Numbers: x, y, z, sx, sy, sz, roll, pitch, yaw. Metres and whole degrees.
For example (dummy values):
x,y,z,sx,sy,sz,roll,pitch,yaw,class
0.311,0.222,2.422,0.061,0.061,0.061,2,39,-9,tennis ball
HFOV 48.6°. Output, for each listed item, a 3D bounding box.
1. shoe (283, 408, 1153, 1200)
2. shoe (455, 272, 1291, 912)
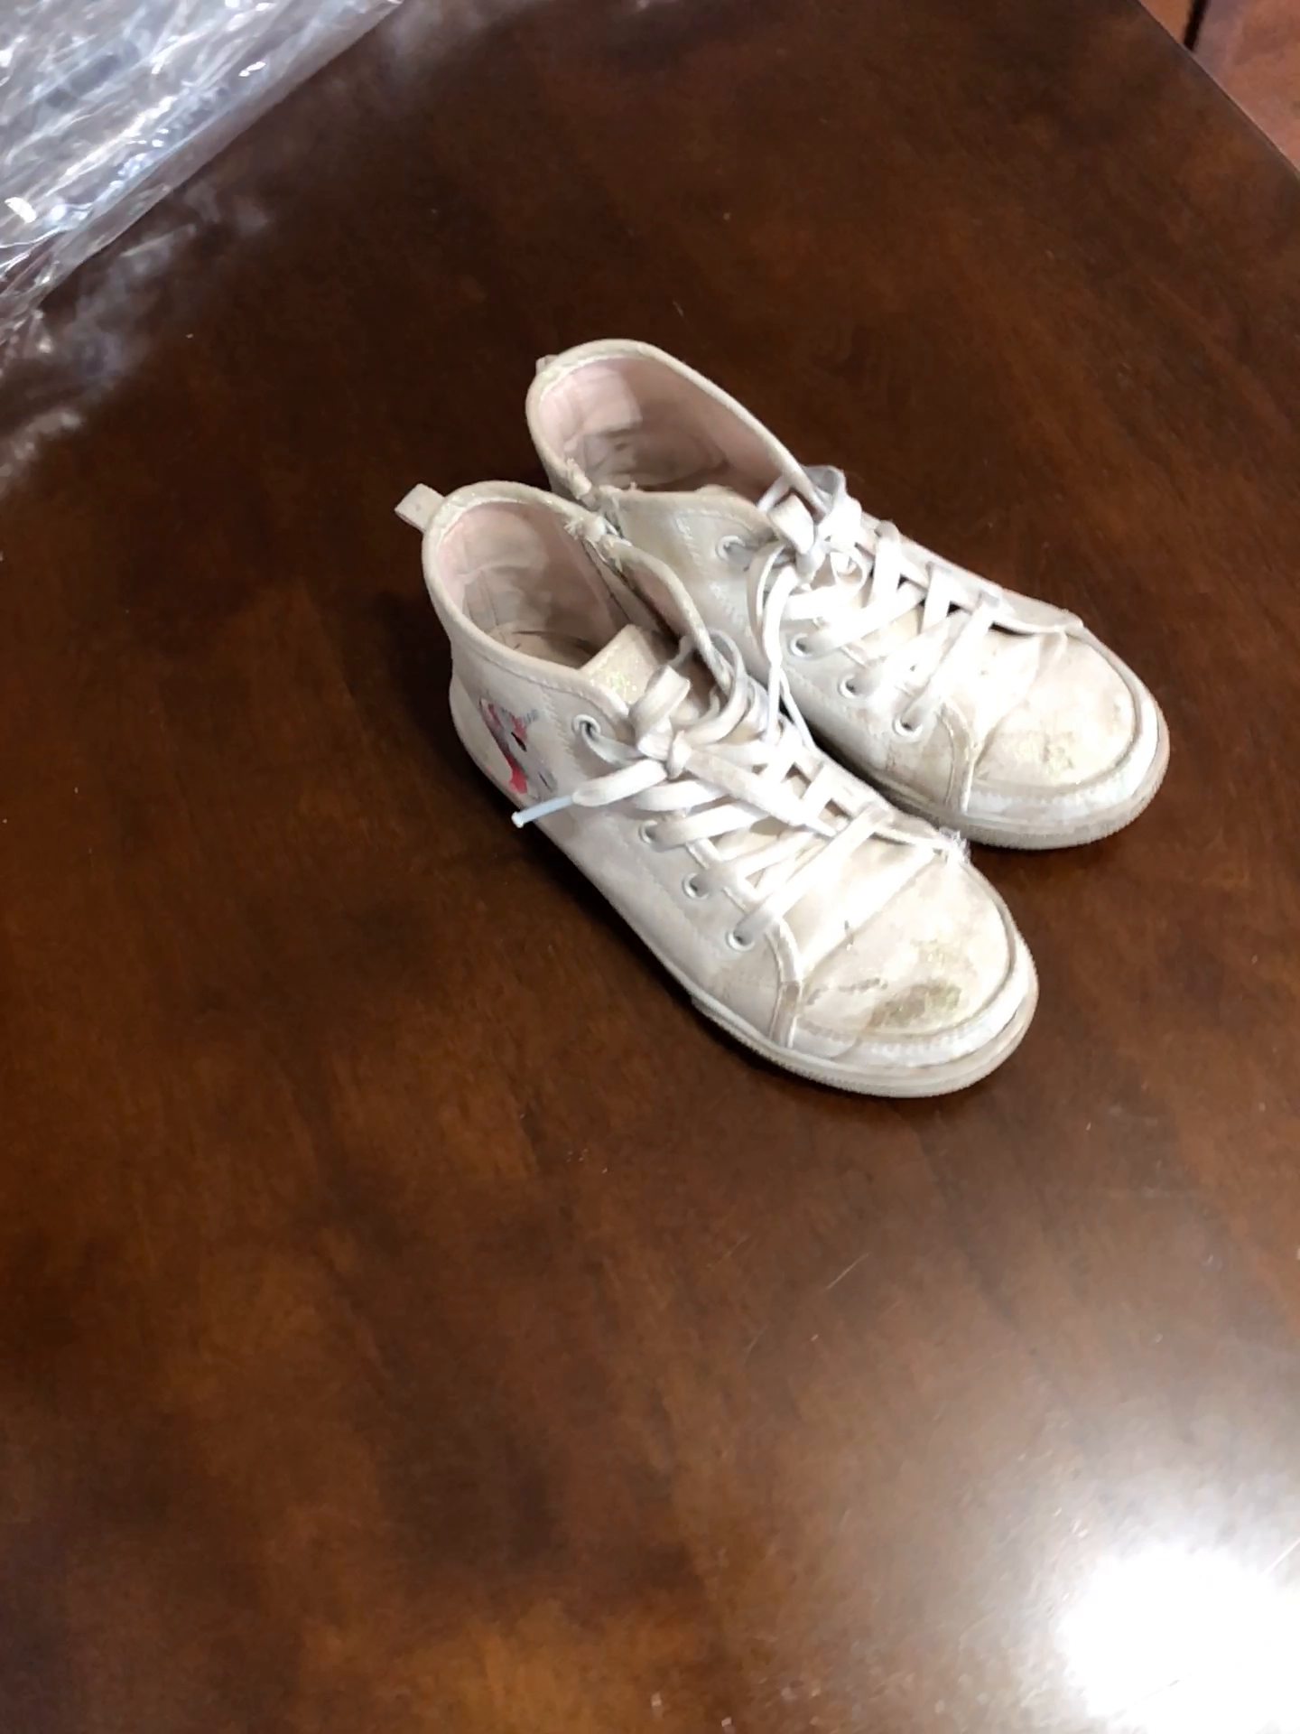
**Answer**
x,y,z,sx,sy,sz,roll,pitch,yaw,class
0.014,-0.019,0.420,0.220,0.100,0.090,37,73,19,shoe
0.064,-0.087,0.458,0.220,0.100,0.090,24,69,15,shoe
